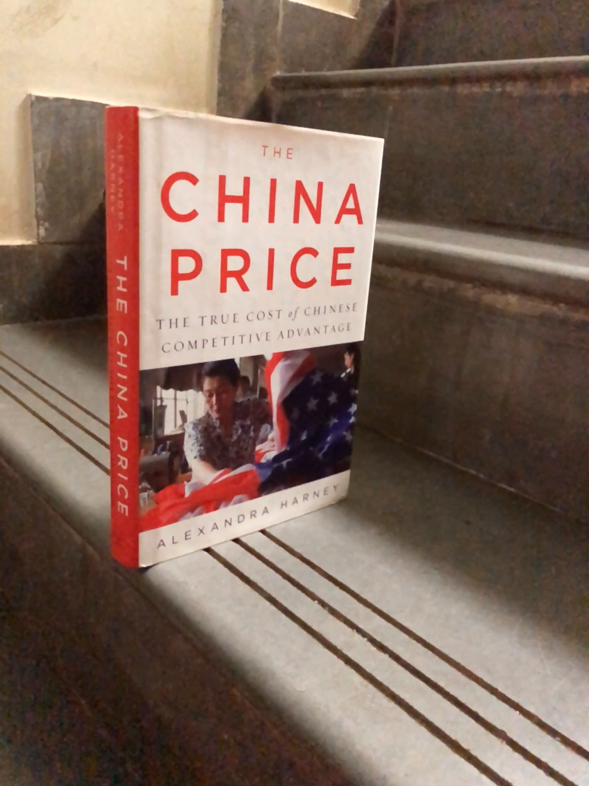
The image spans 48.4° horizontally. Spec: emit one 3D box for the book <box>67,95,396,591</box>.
[{"bbox_3d":[-0.028,-0.030,0.378,0.180,0.239,0.040,-12,23,-39],"label":"book"}]
